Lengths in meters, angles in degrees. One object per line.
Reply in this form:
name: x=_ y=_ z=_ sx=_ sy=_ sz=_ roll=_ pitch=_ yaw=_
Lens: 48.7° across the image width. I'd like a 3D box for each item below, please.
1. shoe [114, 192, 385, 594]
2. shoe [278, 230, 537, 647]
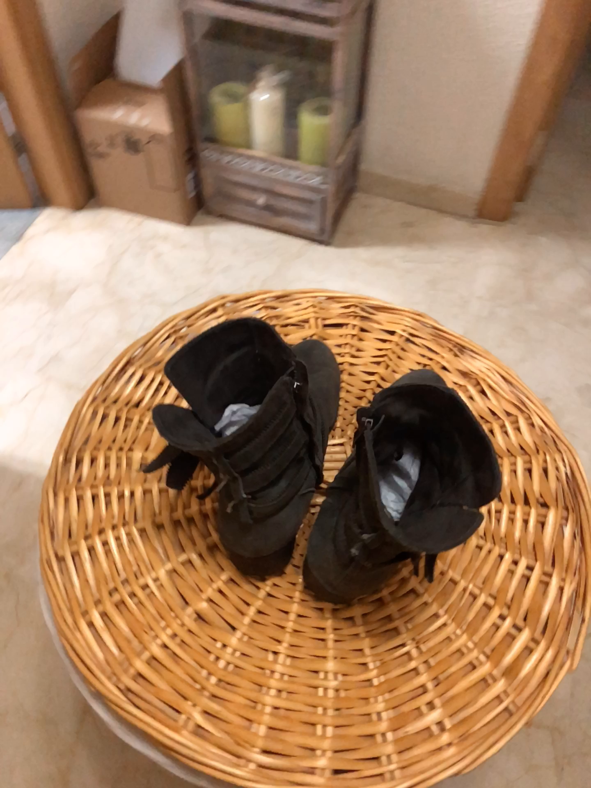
shoe: x=-0.020 y=-0.004 z=0.532 sx=0.110 sy=0.170 sz=0.261 roll=15 pitch=56 yaw=10
shoe: x=0.088 y=0.034 z=0.517 sx=0.110 sy=0.170 sz=0.261 roll=19 pitch=56 yaw=3
